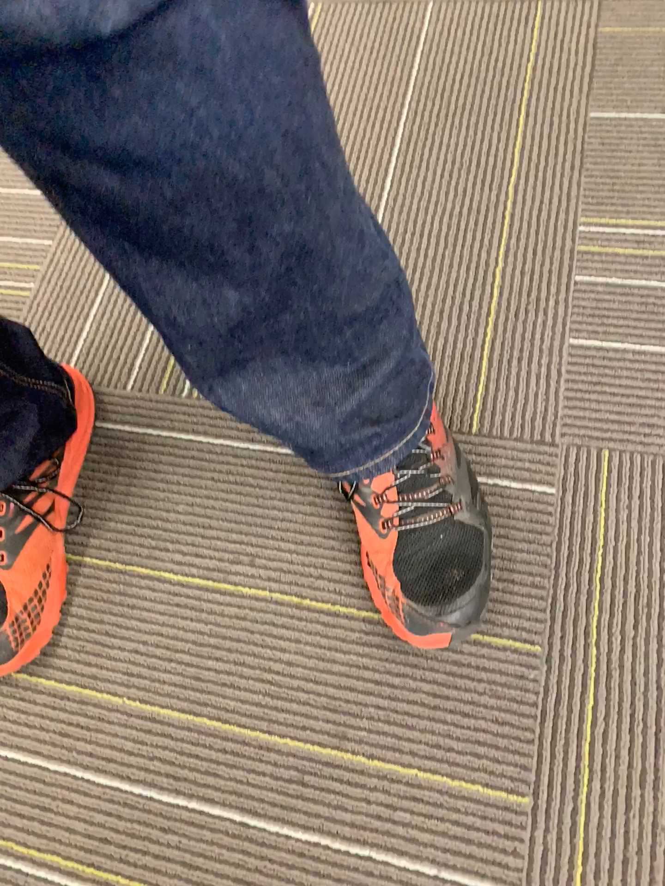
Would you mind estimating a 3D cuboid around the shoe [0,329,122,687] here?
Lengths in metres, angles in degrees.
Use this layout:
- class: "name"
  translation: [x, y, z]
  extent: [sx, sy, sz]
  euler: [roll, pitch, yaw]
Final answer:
- class: "shoe"
  translation: [-0.306, 0.063, 0.665]
  extent: [0.120, 0.120, 0.321]
  euler: [-5, 66, 8]

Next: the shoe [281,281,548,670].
- class: "shoe"
  translation: [0.061, 0.024, 0.596]
  extent: [0.130, 0.100, 0.301]
  euler: [-17, 65, 2]
